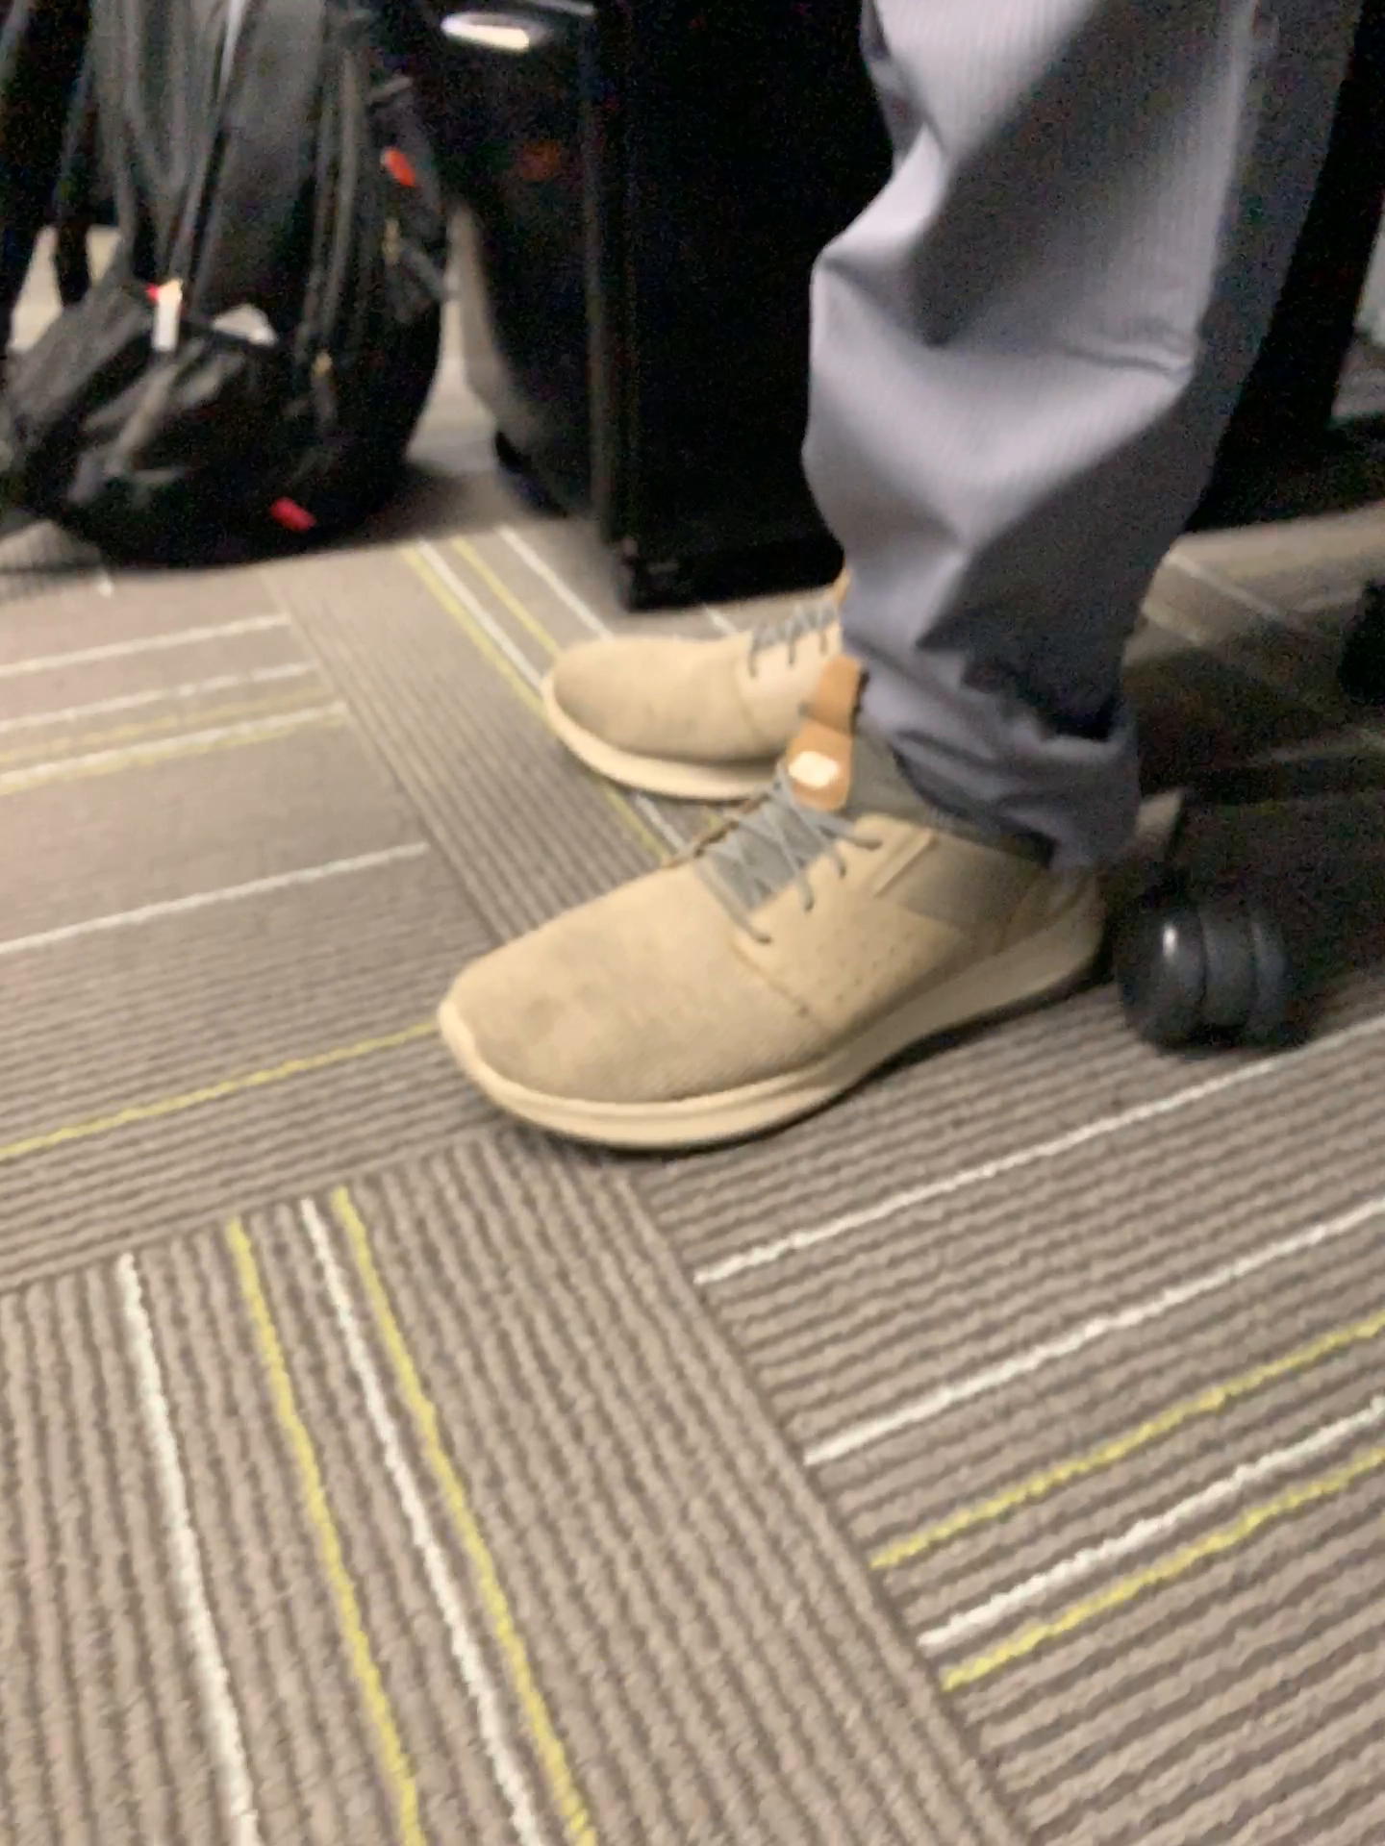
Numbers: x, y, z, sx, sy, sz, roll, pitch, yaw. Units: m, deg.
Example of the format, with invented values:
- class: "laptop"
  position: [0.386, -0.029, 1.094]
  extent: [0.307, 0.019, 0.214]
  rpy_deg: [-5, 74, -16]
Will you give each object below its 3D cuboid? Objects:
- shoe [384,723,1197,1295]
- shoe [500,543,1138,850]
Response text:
- class: "shoe"
  position: [0.043, 0.020, 0.600]
  extent: [0.302, 0.098, 0.126]
  rpy_deg: [-18, 39, -24]
- class: "shoe"
  position: [0.063, -0.122, 0.753]
  extent: [0.302, 0.098, 0.108]
  rpy_deg: [6, 35, 7]
